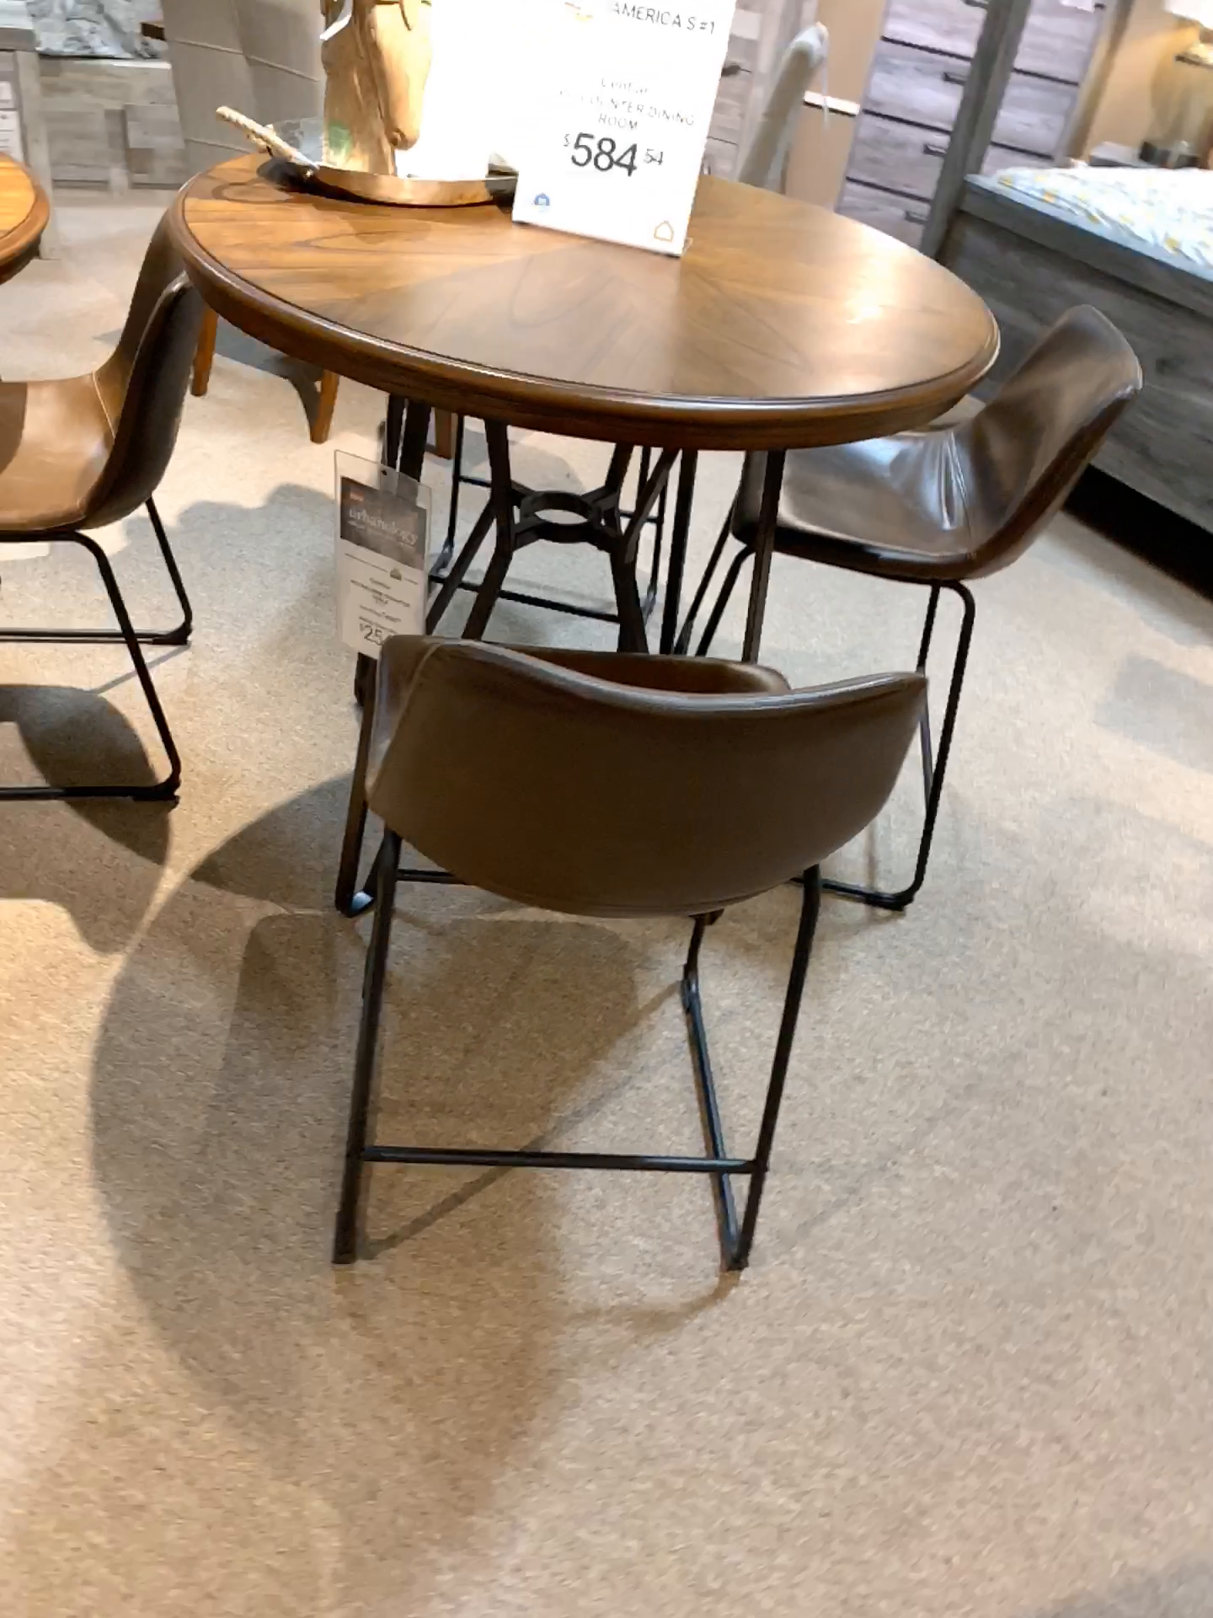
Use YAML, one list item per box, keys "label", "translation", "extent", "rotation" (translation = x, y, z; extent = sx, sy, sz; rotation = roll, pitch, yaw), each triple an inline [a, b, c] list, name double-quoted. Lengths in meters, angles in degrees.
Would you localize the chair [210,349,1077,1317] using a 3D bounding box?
- label: "chair"
  translation: [-0.036, 0.053, 1.315]
  extent: [0.600, 0.805, 0.583]
  rotation: [4, 39, -8]
